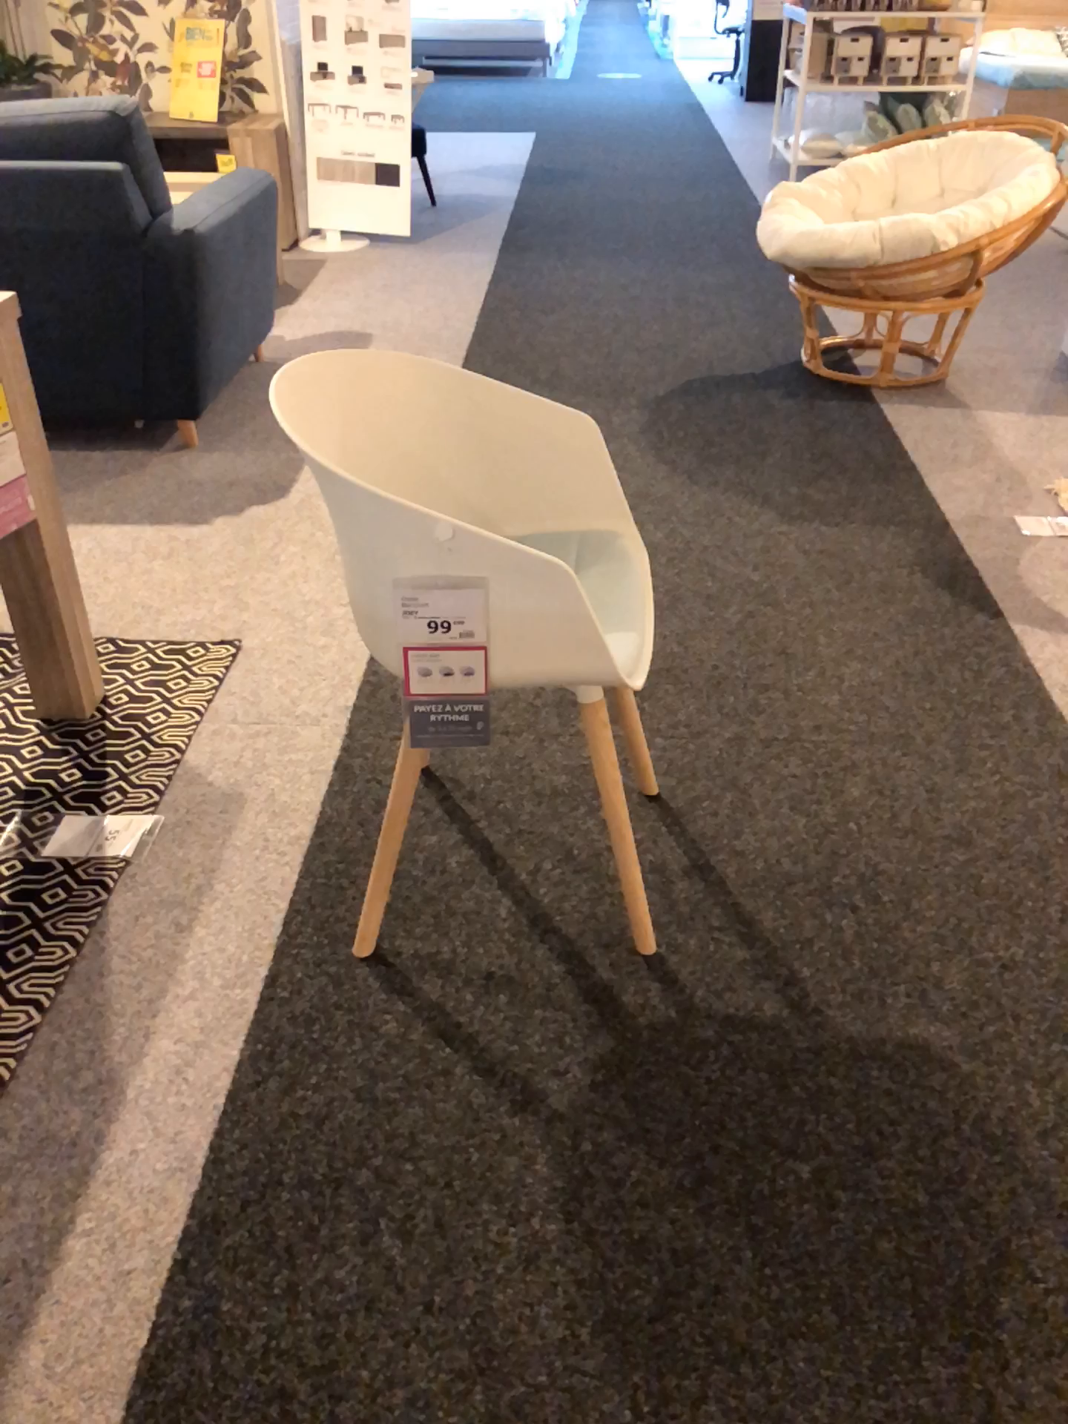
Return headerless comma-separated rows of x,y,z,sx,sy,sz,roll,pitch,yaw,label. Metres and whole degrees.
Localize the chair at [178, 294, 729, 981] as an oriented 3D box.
-0.060,-0.119,1.650,0.580,0.765,0.554,3,33,5,chair
